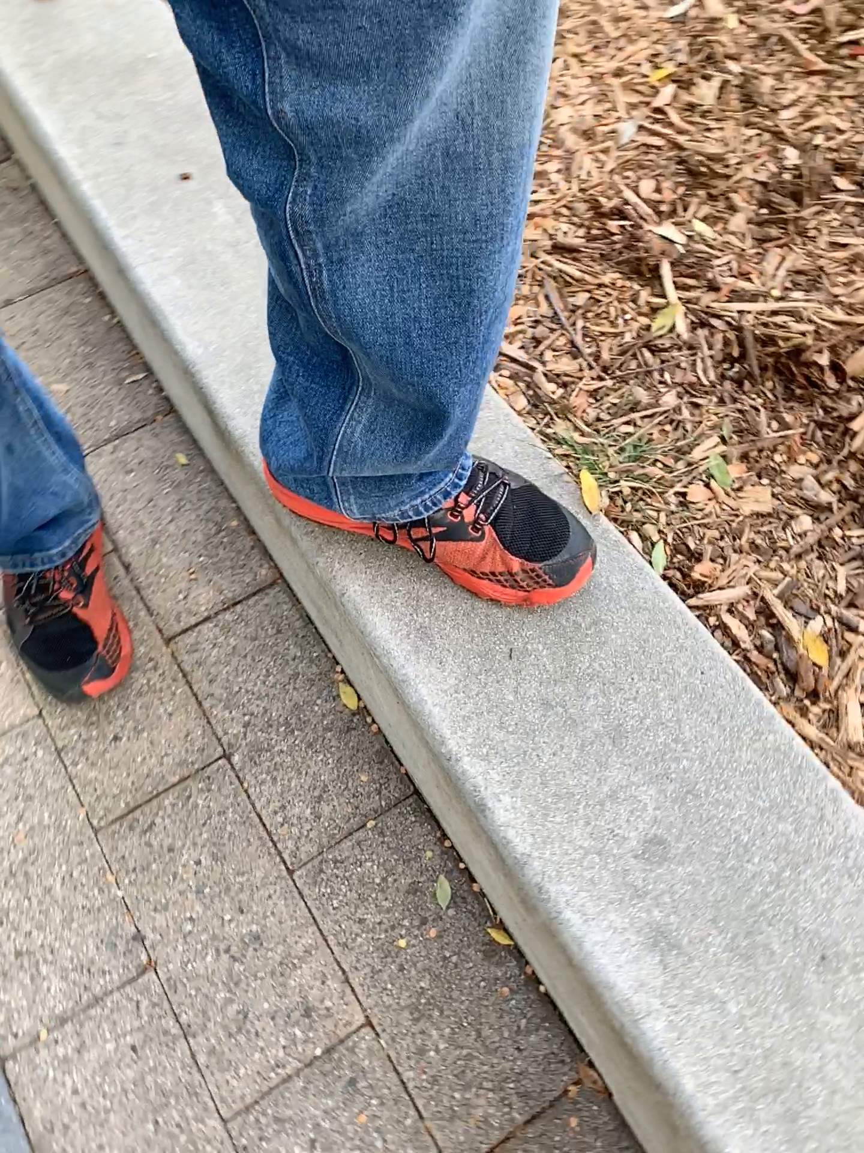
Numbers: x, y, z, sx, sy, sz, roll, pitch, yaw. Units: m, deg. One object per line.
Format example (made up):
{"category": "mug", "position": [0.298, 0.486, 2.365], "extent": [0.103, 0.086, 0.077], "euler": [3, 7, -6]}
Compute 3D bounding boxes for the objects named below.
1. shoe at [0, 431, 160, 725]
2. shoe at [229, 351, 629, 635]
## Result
{"category": "shoe", "position": [-0.426, -0.006, 0.992], "extent": [0.136, 0.080, 0.307], "euler": [-22, 63, -12]}
{"category": "shoe", "position": [-0.004, -0.077, 0.767], "extent": [0.310, 0.080, 0.122], "euler": [23, 63, 12]}
